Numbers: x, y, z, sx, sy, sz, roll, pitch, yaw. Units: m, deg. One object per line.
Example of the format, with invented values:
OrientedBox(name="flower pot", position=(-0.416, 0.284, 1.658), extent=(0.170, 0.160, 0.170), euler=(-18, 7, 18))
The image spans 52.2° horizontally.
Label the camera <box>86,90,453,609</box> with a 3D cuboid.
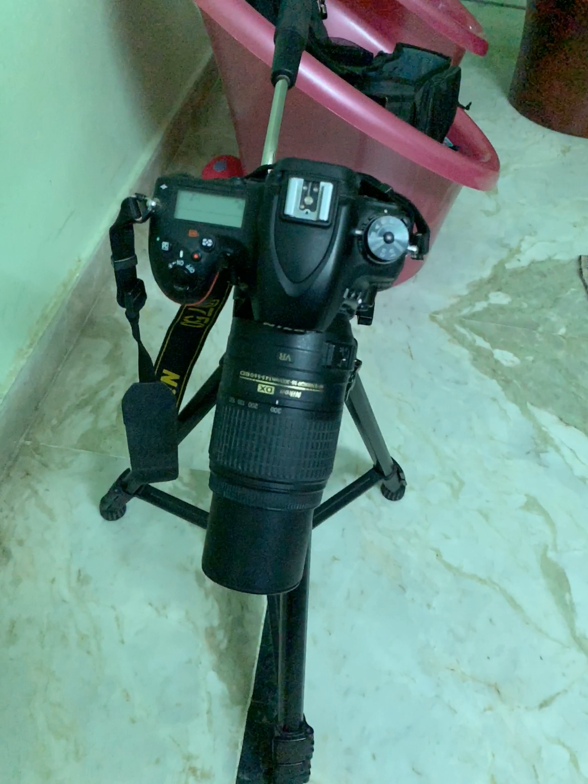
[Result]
OrientedBox(name="camera", position=(-0.012, -0.021, 0.330), extent=(0.130, 0.214, 0.116), euler=(11, 5, 2))
